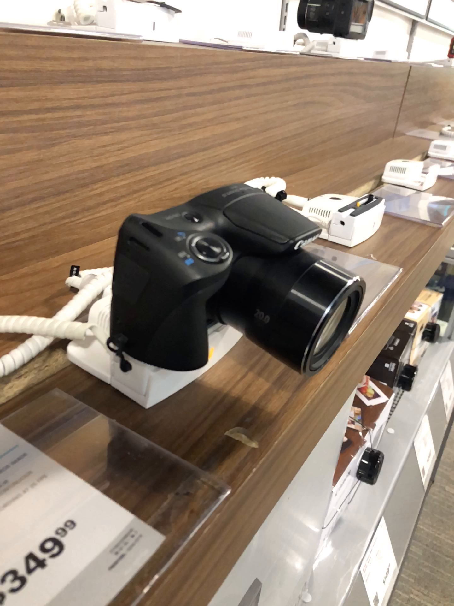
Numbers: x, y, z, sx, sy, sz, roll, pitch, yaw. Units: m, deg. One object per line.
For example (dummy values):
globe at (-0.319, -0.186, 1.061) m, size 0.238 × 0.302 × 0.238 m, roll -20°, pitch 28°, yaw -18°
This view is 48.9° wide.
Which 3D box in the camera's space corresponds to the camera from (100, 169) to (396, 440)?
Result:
camera at (0.011, -0.011, 0.231) m, size 0.090 × 0.070 × 0.100 m, roll 21°, pitch 30°, yaw 27°
